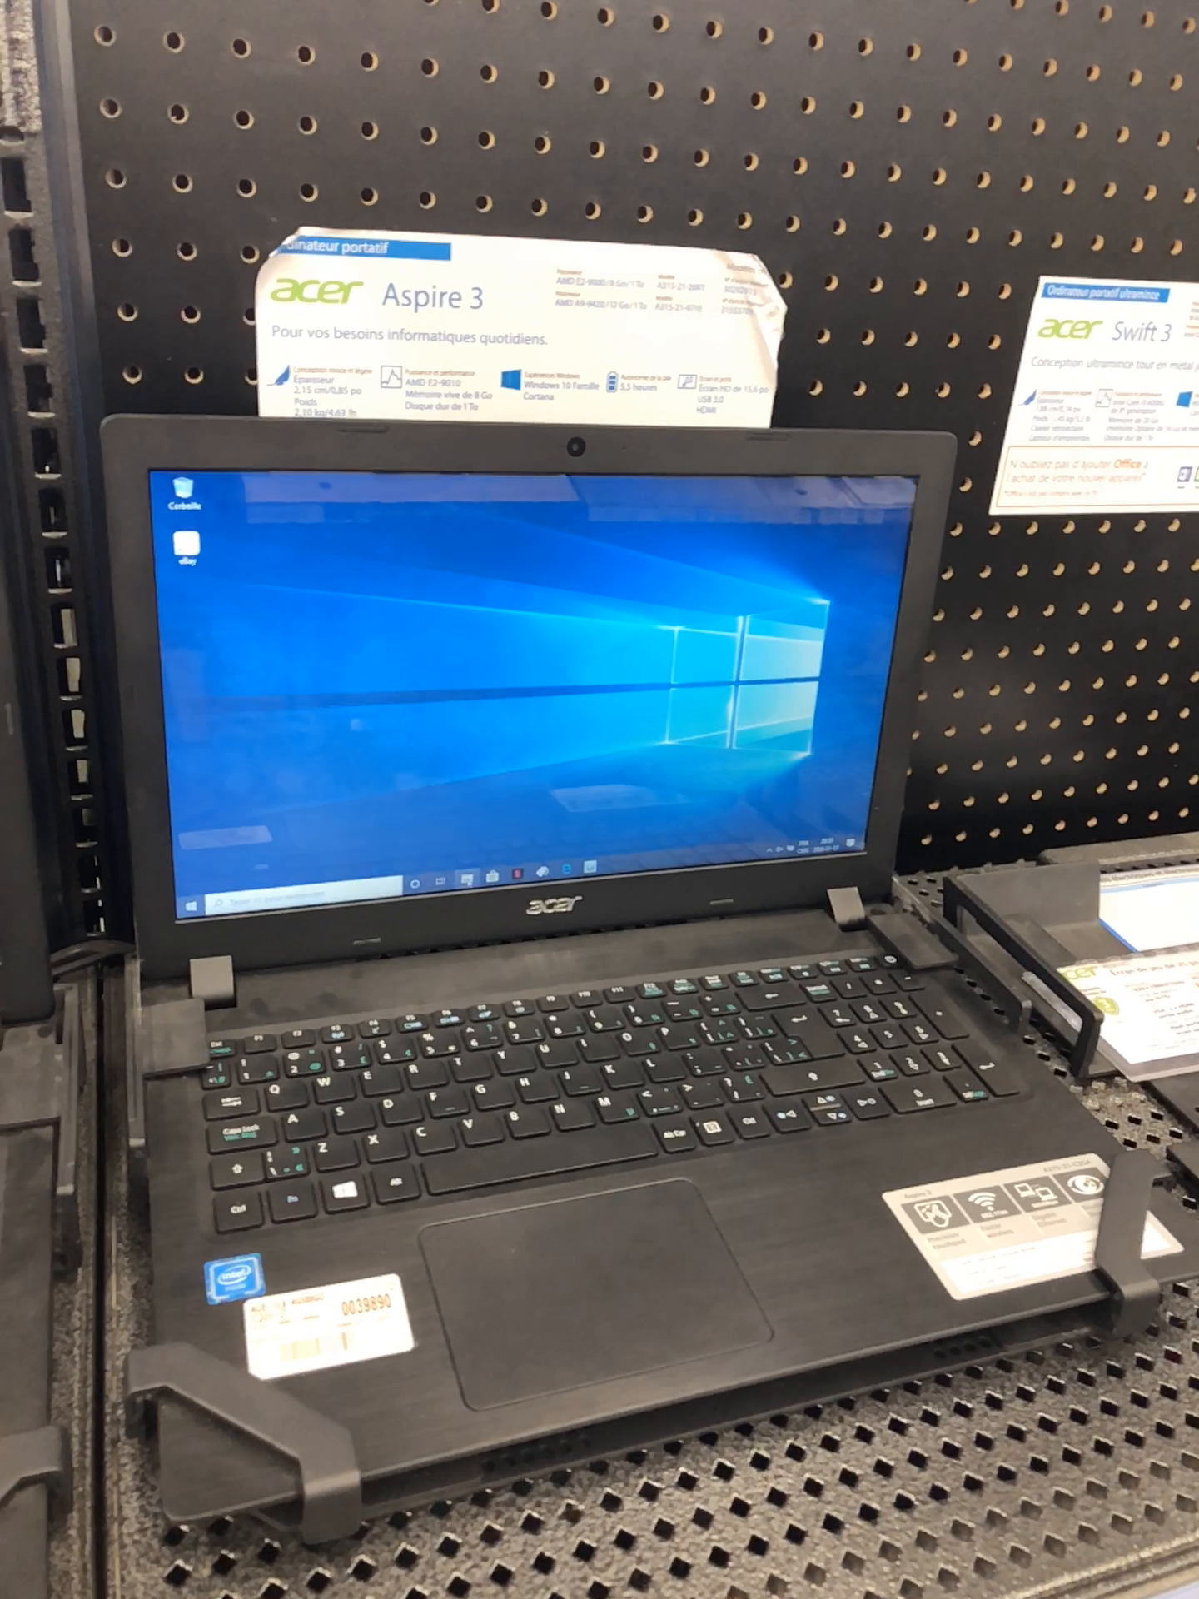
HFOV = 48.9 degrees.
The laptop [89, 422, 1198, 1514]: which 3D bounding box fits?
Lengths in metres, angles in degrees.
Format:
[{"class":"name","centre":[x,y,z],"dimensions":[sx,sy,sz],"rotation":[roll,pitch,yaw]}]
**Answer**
[{"class":"laptop","centre":[0.022,0.014,0.513],"dimensions":[0.386,0.247,0.296],"rotation":[-4,28,-18]}]
